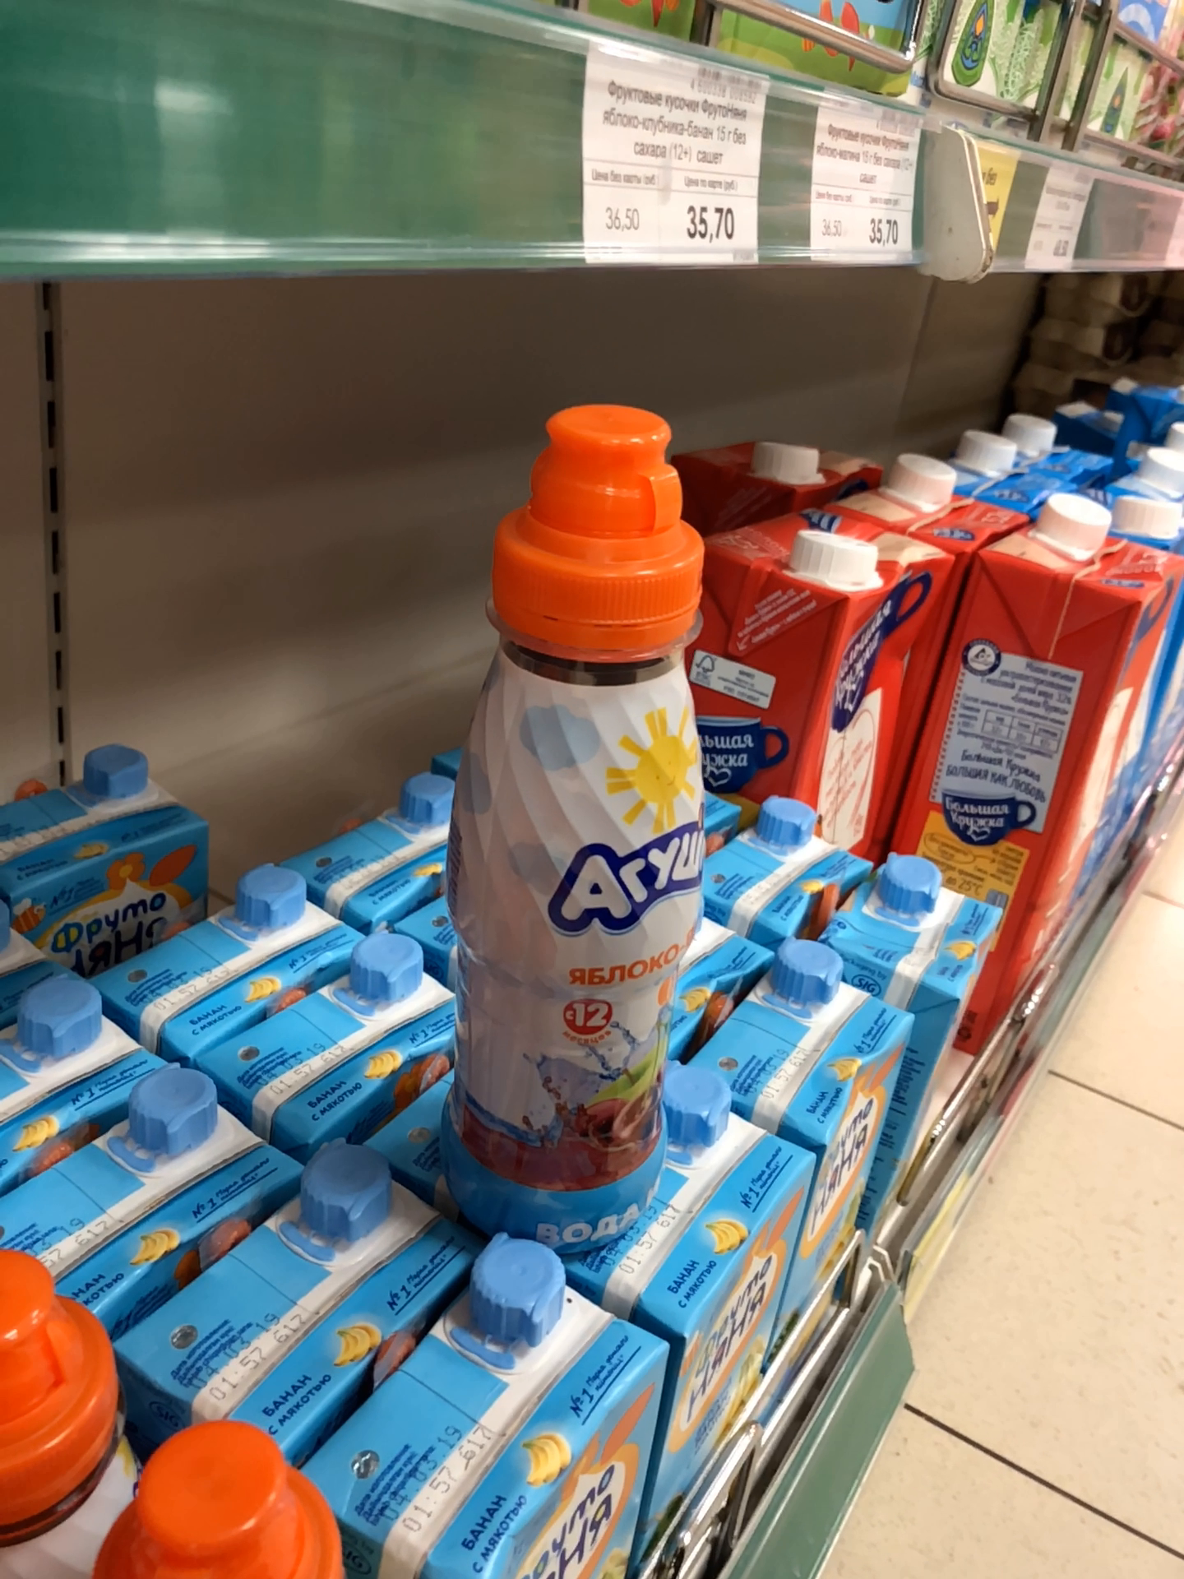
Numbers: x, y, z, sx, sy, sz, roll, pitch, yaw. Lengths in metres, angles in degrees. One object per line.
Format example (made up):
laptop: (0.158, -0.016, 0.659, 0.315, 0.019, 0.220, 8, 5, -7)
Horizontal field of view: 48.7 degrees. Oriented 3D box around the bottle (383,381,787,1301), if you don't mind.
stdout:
bottle: (-0.005, 0.016, 0.289, 0.056, 0.190, 0.055, 3, 29, -1)
